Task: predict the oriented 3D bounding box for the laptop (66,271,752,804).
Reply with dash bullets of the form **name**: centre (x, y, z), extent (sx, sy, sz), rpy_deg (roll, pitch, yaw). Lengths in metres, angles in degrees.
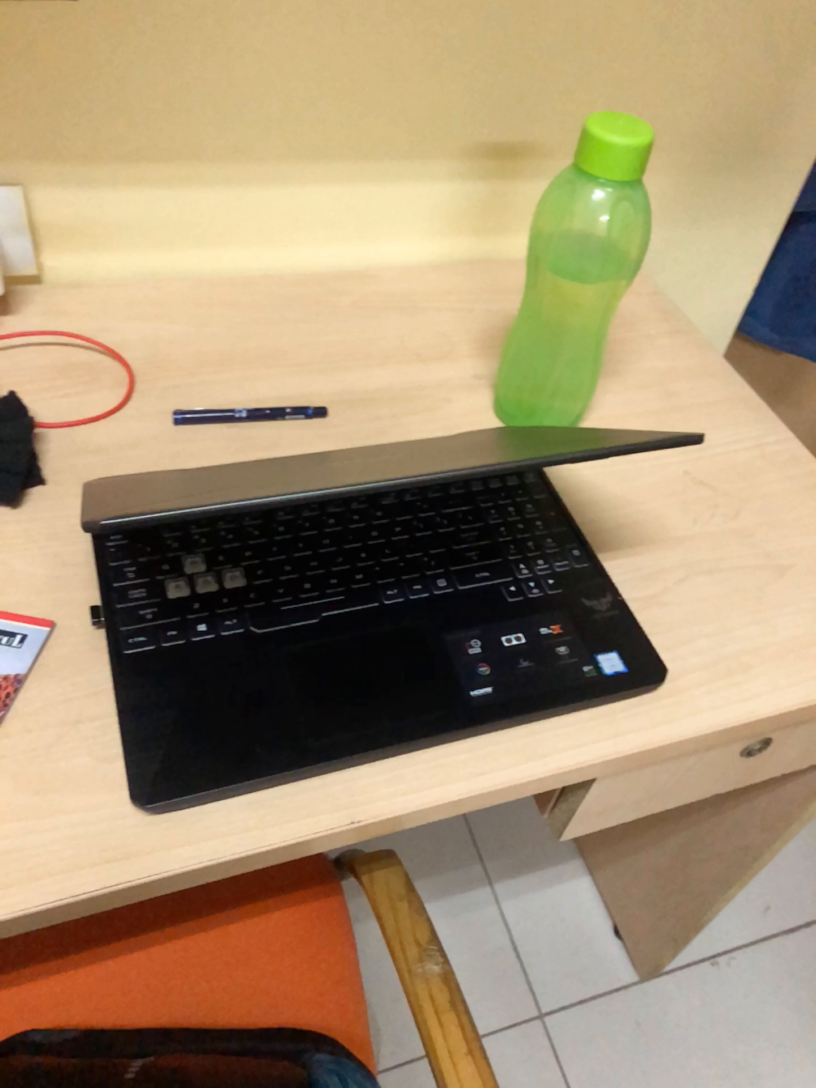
- **laptop**: centre (-0.016, -0.025, 0.577), extent (0.339, 0.147, 0.249), rpy_deg (-10, 52, -18)
